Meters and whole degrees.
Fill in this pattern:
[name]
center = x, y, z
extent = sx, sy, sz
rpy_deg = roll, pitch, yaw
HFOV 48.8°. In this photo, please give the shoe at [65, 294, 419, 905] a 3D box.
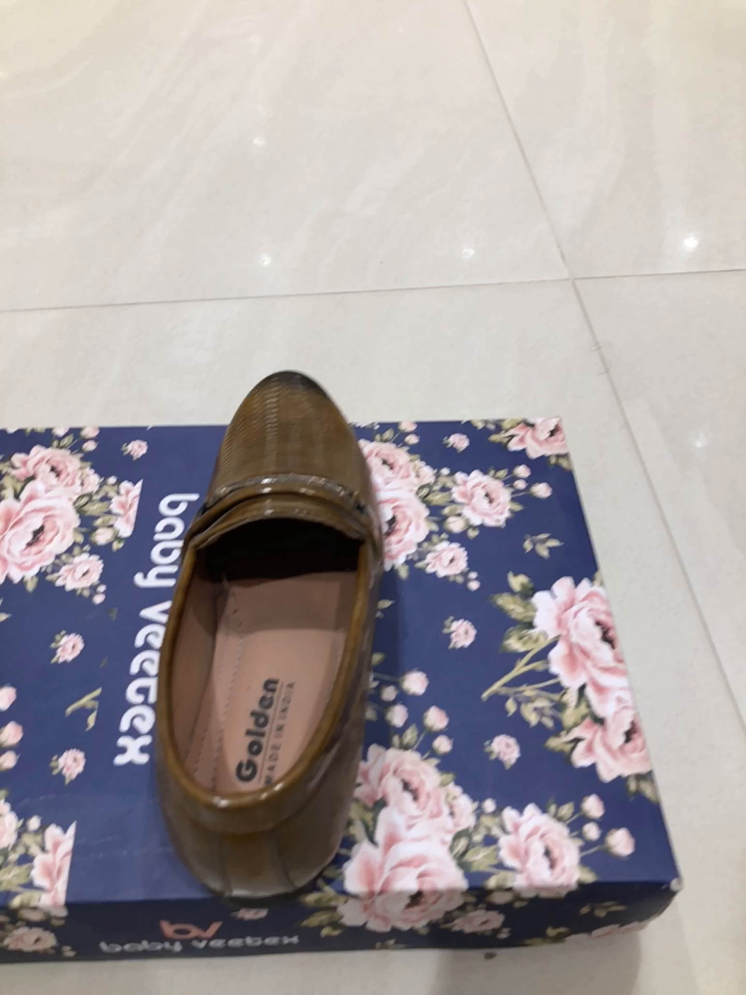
[shoe]
center = -0.038, 0.025, 0.305
extent = 0.090, 0.080, 0.211
rpy_deg = -2, 53, -2
